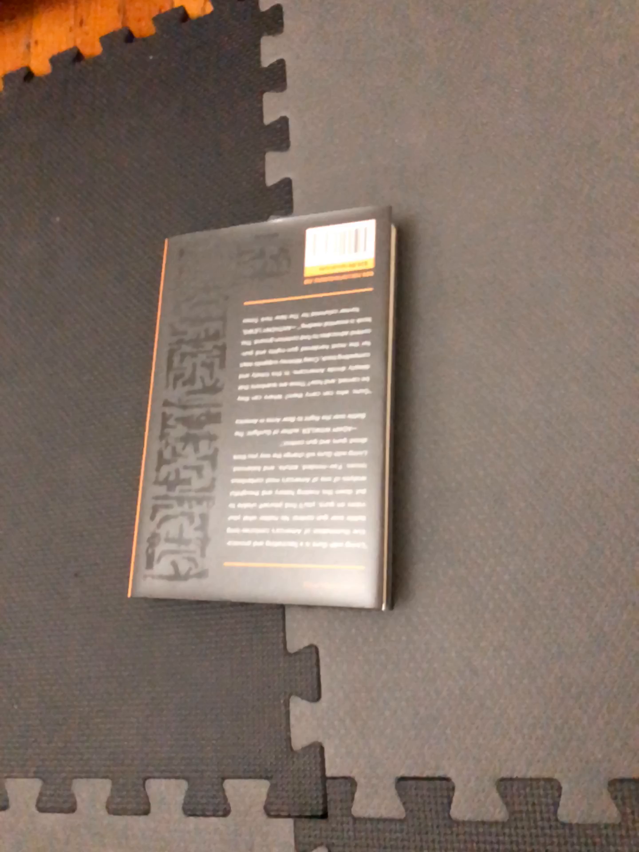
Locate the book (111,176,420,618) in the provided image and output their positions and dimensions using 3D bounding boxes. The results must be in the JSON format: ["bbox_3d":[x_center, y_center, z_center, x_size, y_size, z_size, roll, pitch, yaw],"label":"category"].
[{"bbox_3d":[-0.030,-0.020,0.448,0.170,0.040,0.260,-1,75,21],"label":"book"}]
